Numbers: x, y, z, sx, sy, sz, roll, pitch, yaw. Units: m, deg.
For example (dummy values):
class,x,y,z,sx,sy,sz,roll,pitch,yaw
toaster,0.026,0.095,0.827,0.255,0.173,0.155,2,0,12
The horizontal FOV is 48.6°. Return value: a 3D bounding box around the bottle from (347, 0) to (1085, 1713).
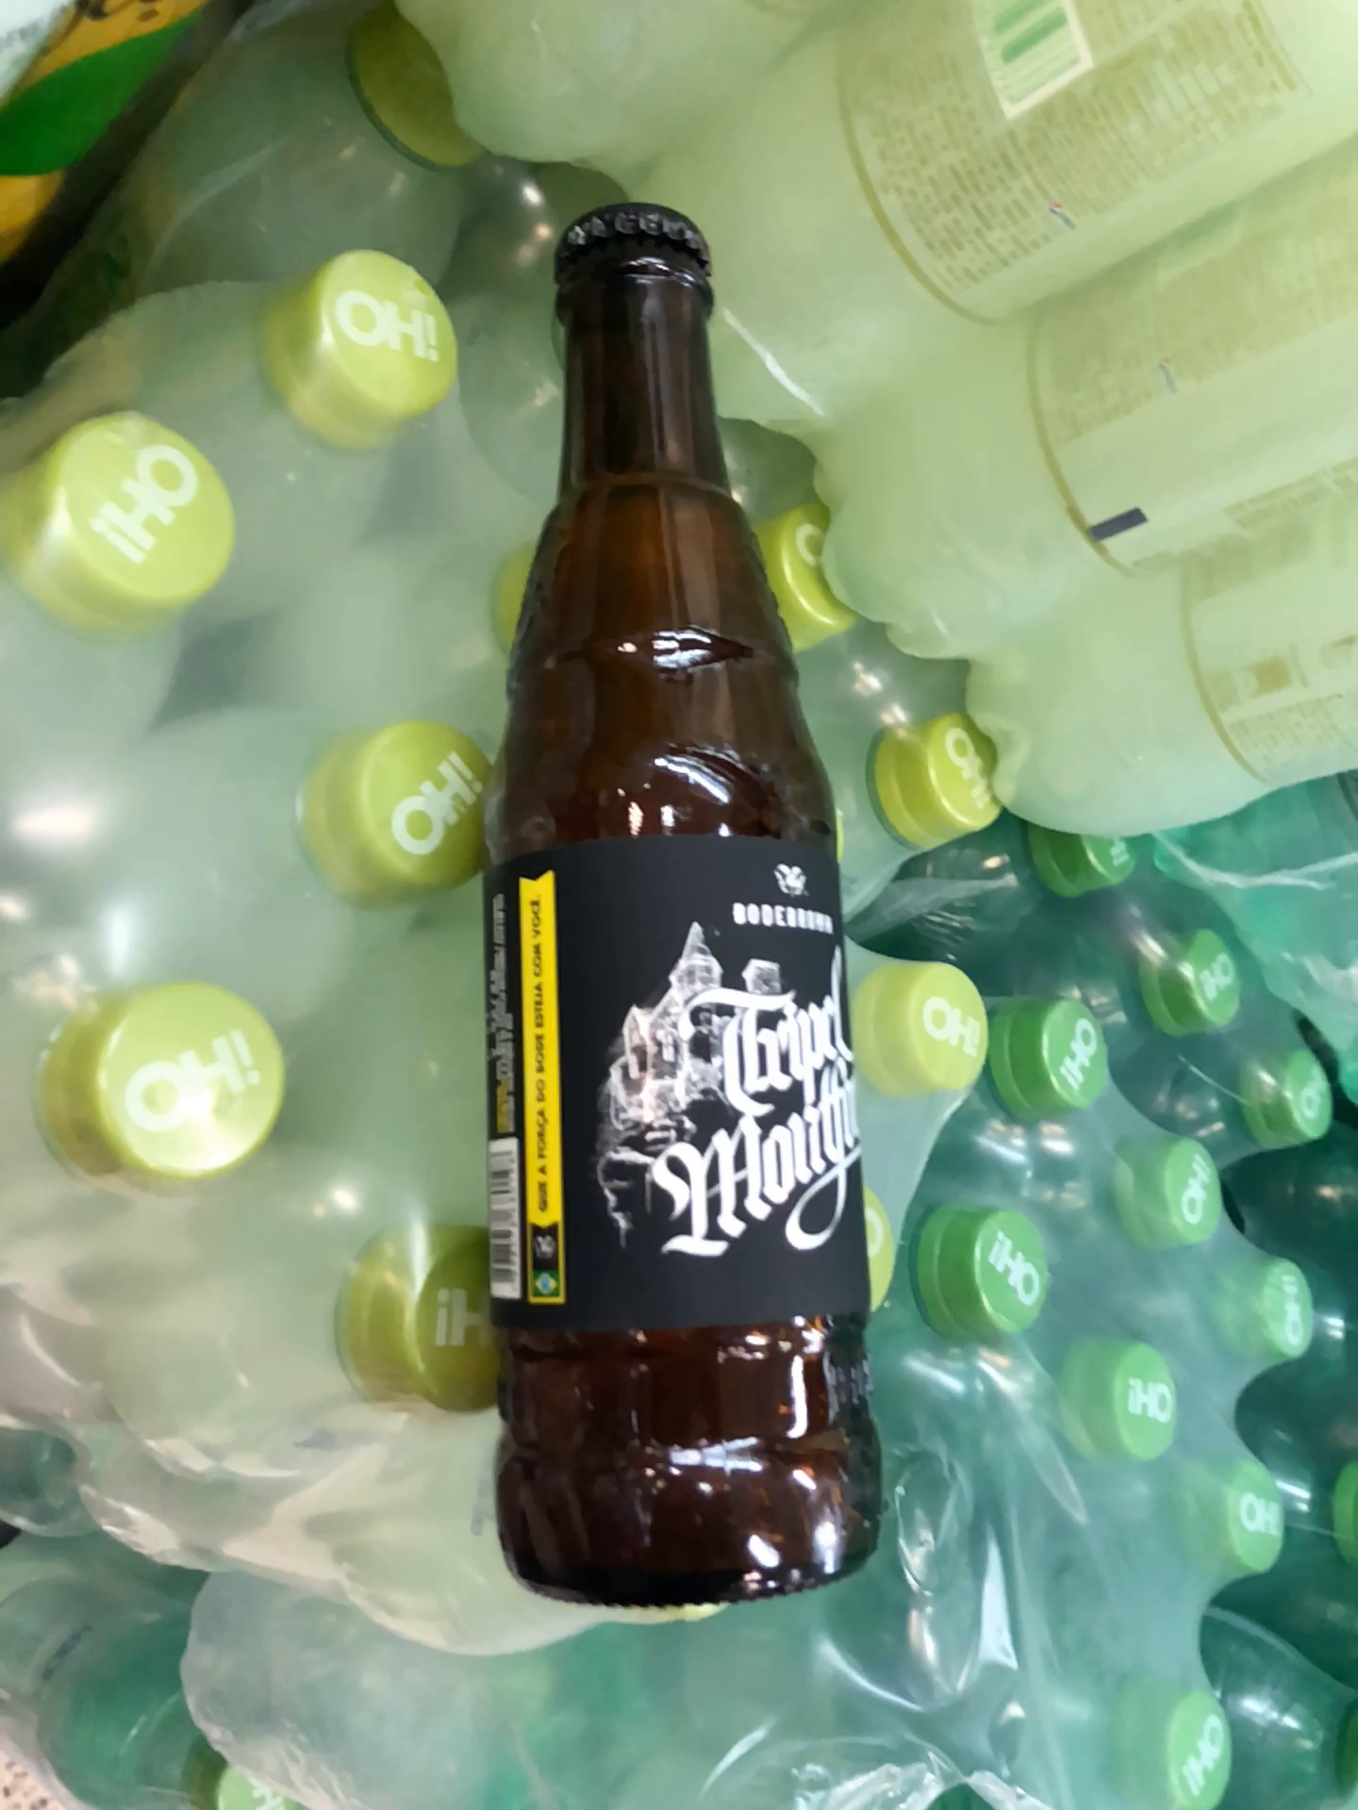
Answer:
class,x,y,z,sx,sy,sz,roll,pitch,yaw
bottle,0.001,-0.028,0.232,0.070,0.070,0.250,6,77,-43
